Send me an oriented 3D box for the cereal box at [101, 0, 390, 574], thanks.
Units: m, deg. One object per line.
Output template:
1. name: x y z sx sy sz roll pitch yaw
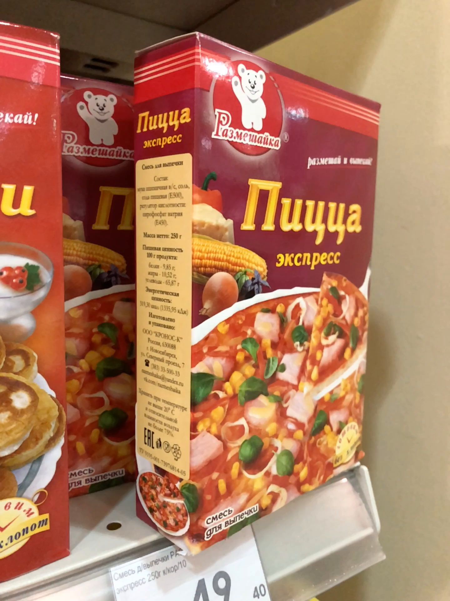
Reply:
1. cereal box: 0.018 -0.008 0.226 0.140 0.190 0.040 -5 8 -44
